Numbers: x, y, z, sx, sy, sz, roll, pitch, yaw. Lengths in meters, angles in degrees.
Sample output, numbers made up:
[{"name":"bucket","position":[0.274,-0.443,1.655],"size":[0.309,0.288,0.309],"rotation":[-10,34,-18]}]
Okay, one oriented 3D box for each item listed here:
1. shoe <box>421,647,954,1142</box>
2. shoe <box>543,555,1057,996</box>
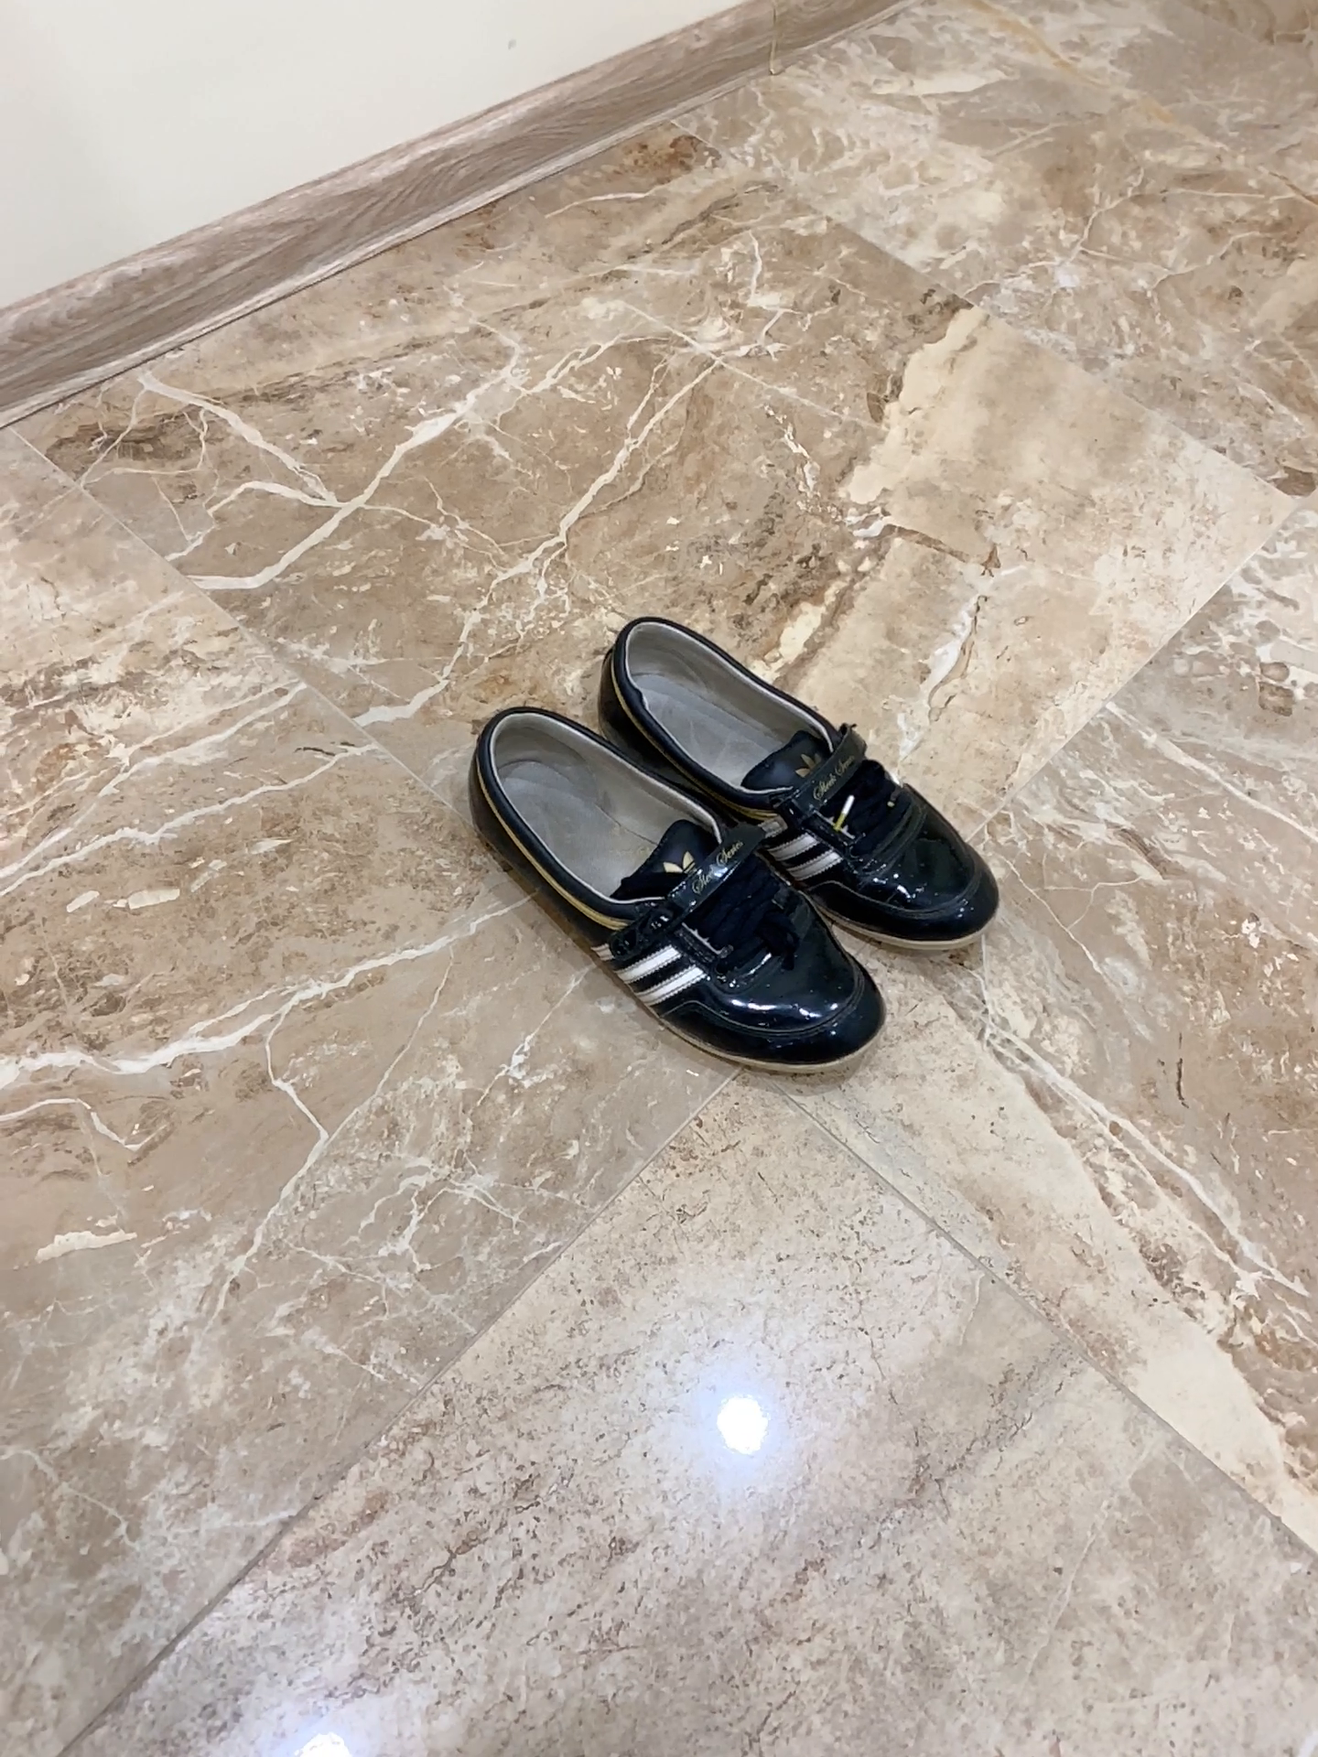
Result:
[{"name":"shoe","position":[0.007,0.002,0.636],"size":[0.240,0.060,0.095],"rotation":[39,59,17]},{"name":"shoe","position":[0.065,-0.057,0.683],"size":[0.240,0.060,0.096],"rotation":[36,58,15]}]
